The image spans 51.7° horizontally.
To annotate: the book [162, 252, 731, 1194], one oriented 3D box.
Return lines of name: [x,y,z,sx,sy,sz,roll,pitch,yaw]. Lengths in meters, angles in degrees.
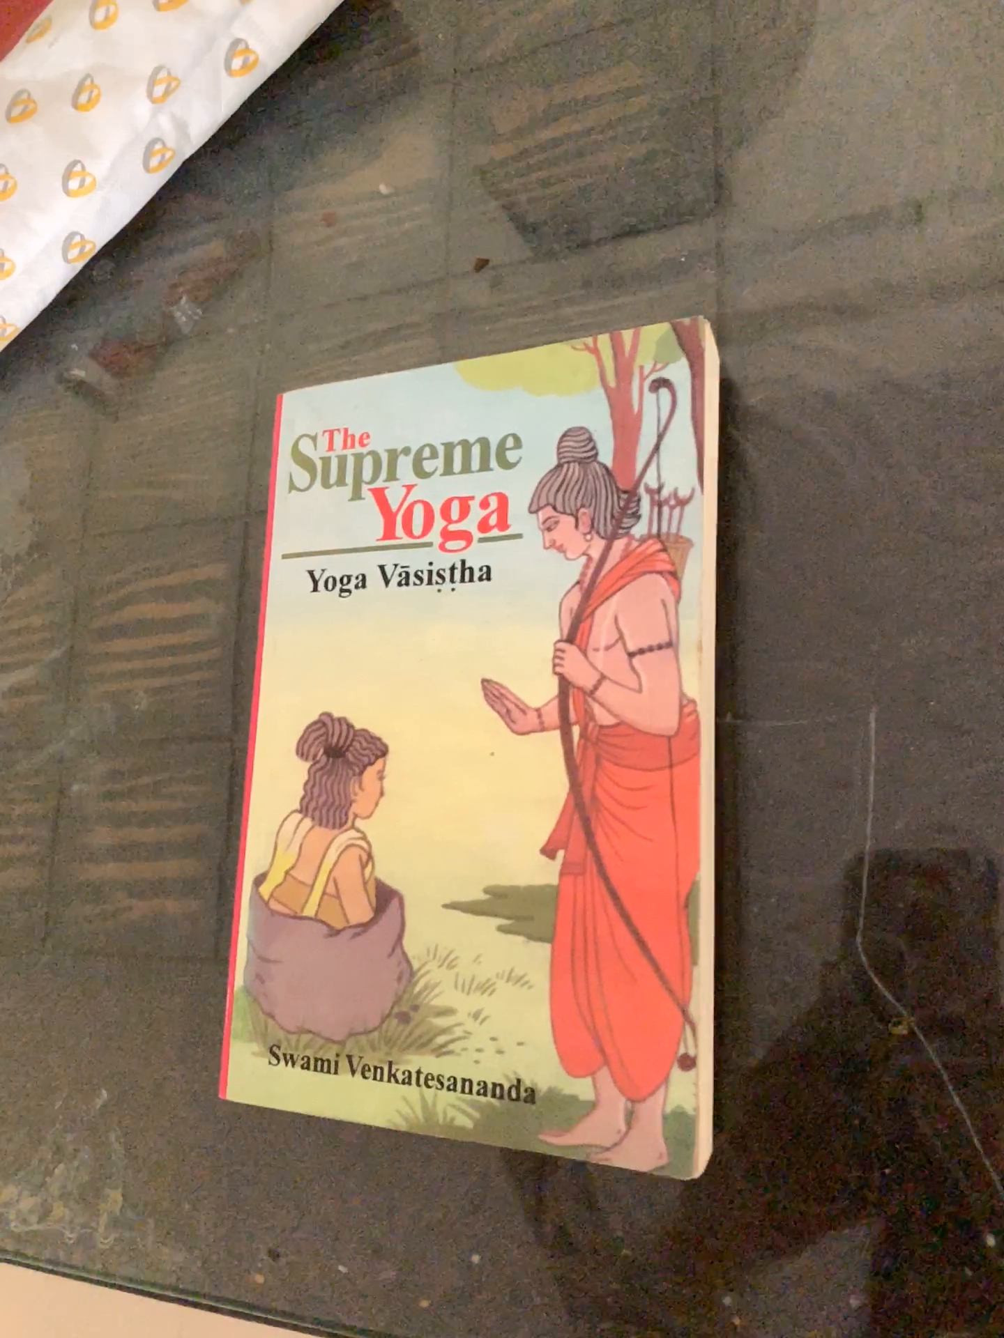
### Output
book: [-0.014,0.008,0.271,0.140,0.030,0.210,-3,78,25]
